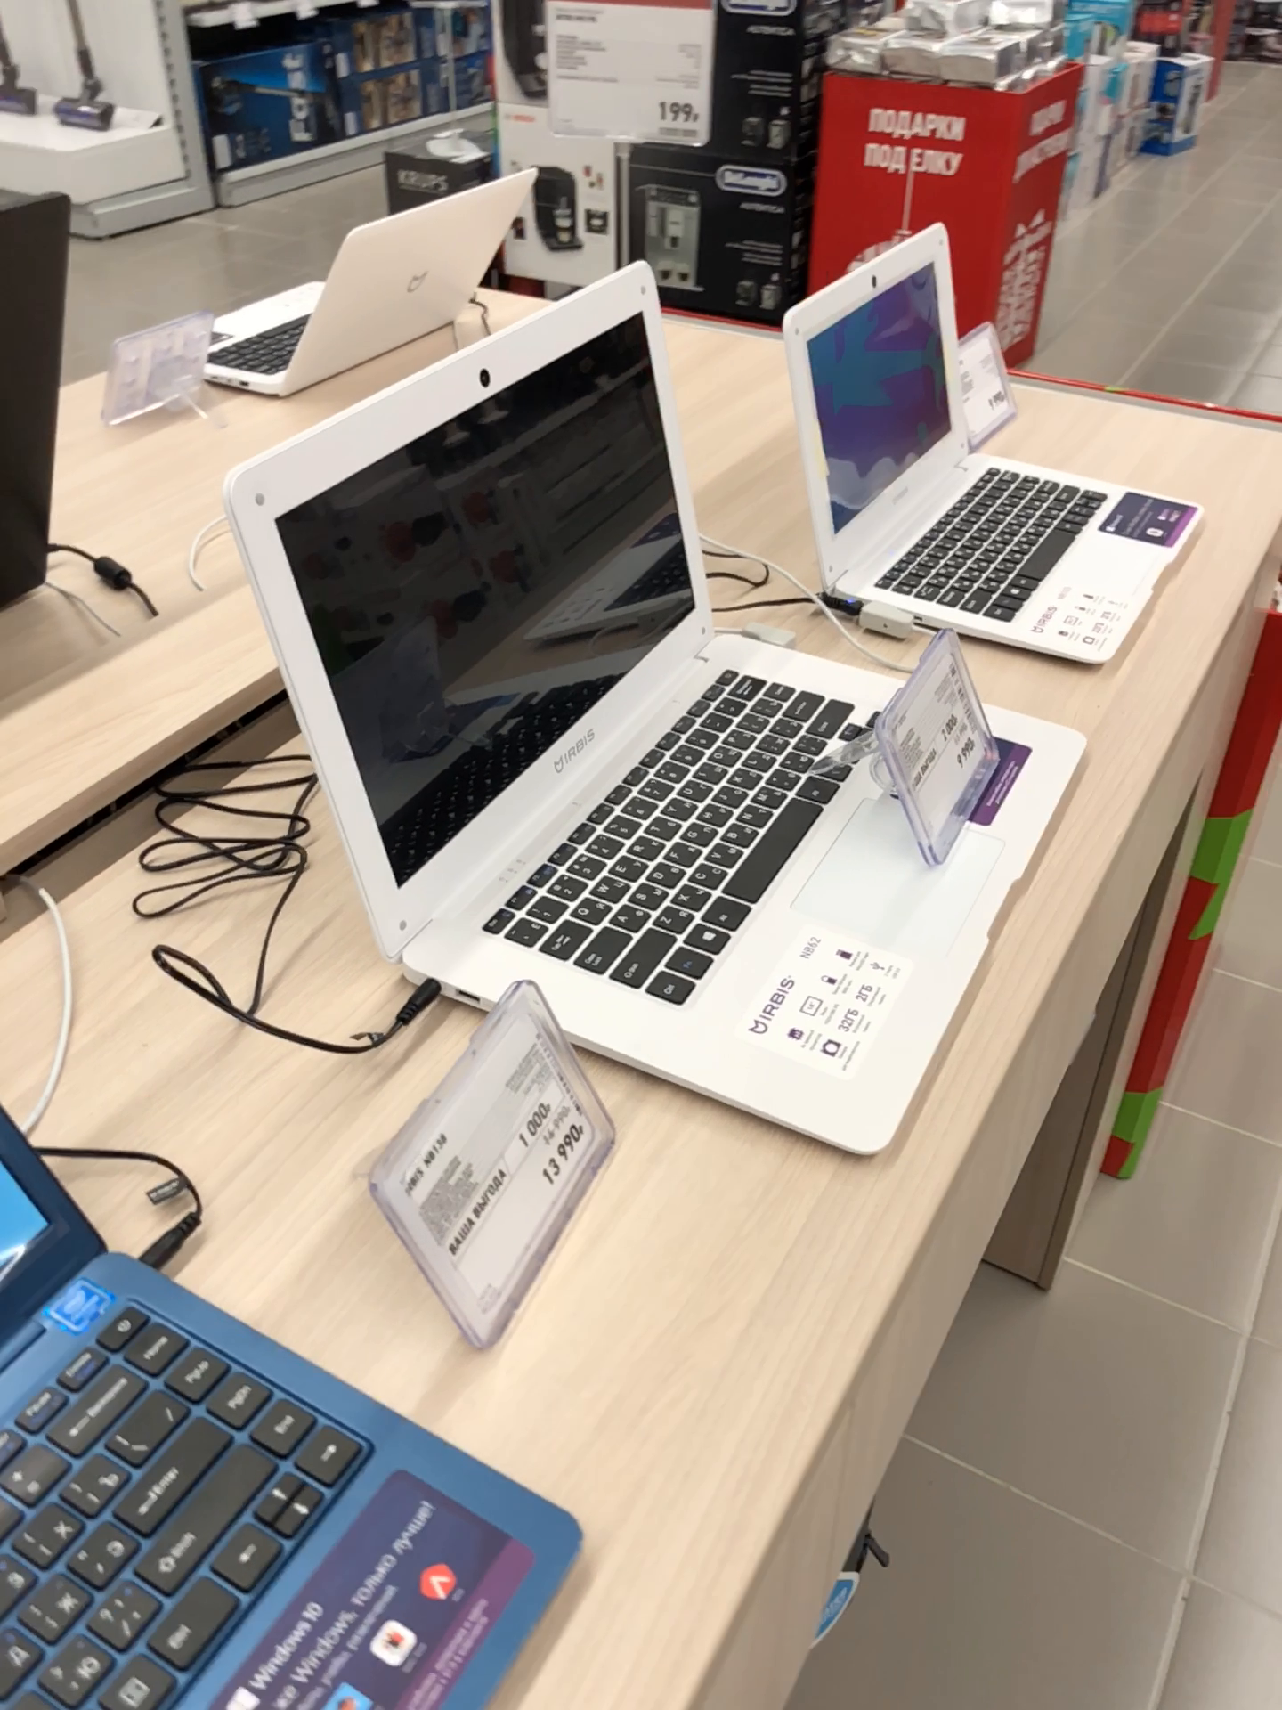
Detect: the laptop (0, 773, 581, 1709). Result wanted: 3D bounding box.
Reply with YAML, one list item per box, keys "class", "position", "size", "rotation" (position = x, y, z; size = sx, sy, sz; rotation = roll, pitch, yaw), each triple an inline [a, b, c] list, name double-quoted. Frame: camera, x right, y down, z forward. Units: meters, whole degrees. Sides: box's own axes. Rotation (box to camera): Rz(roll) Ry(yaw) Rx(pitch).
- class: "laptop"
  position: [-0.226, 0.160, 0.321]
  size: [0.311, 0.158, 0.299]
  rotation: [20, 39, 23]

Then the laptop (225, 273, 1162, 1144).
- class: "laptop"
  position: [0.045, -0.101, 0.651]
  size: [0.279, 0.207, 0.335]
  rotation: [18, 40, 21]

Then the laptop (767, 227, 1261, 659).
- class: "laptop"
  position: [0.250, -0.288, 0.942]
  size: [0.221, 0.167, 0.260]
  rotation: [19, 42, 23]
